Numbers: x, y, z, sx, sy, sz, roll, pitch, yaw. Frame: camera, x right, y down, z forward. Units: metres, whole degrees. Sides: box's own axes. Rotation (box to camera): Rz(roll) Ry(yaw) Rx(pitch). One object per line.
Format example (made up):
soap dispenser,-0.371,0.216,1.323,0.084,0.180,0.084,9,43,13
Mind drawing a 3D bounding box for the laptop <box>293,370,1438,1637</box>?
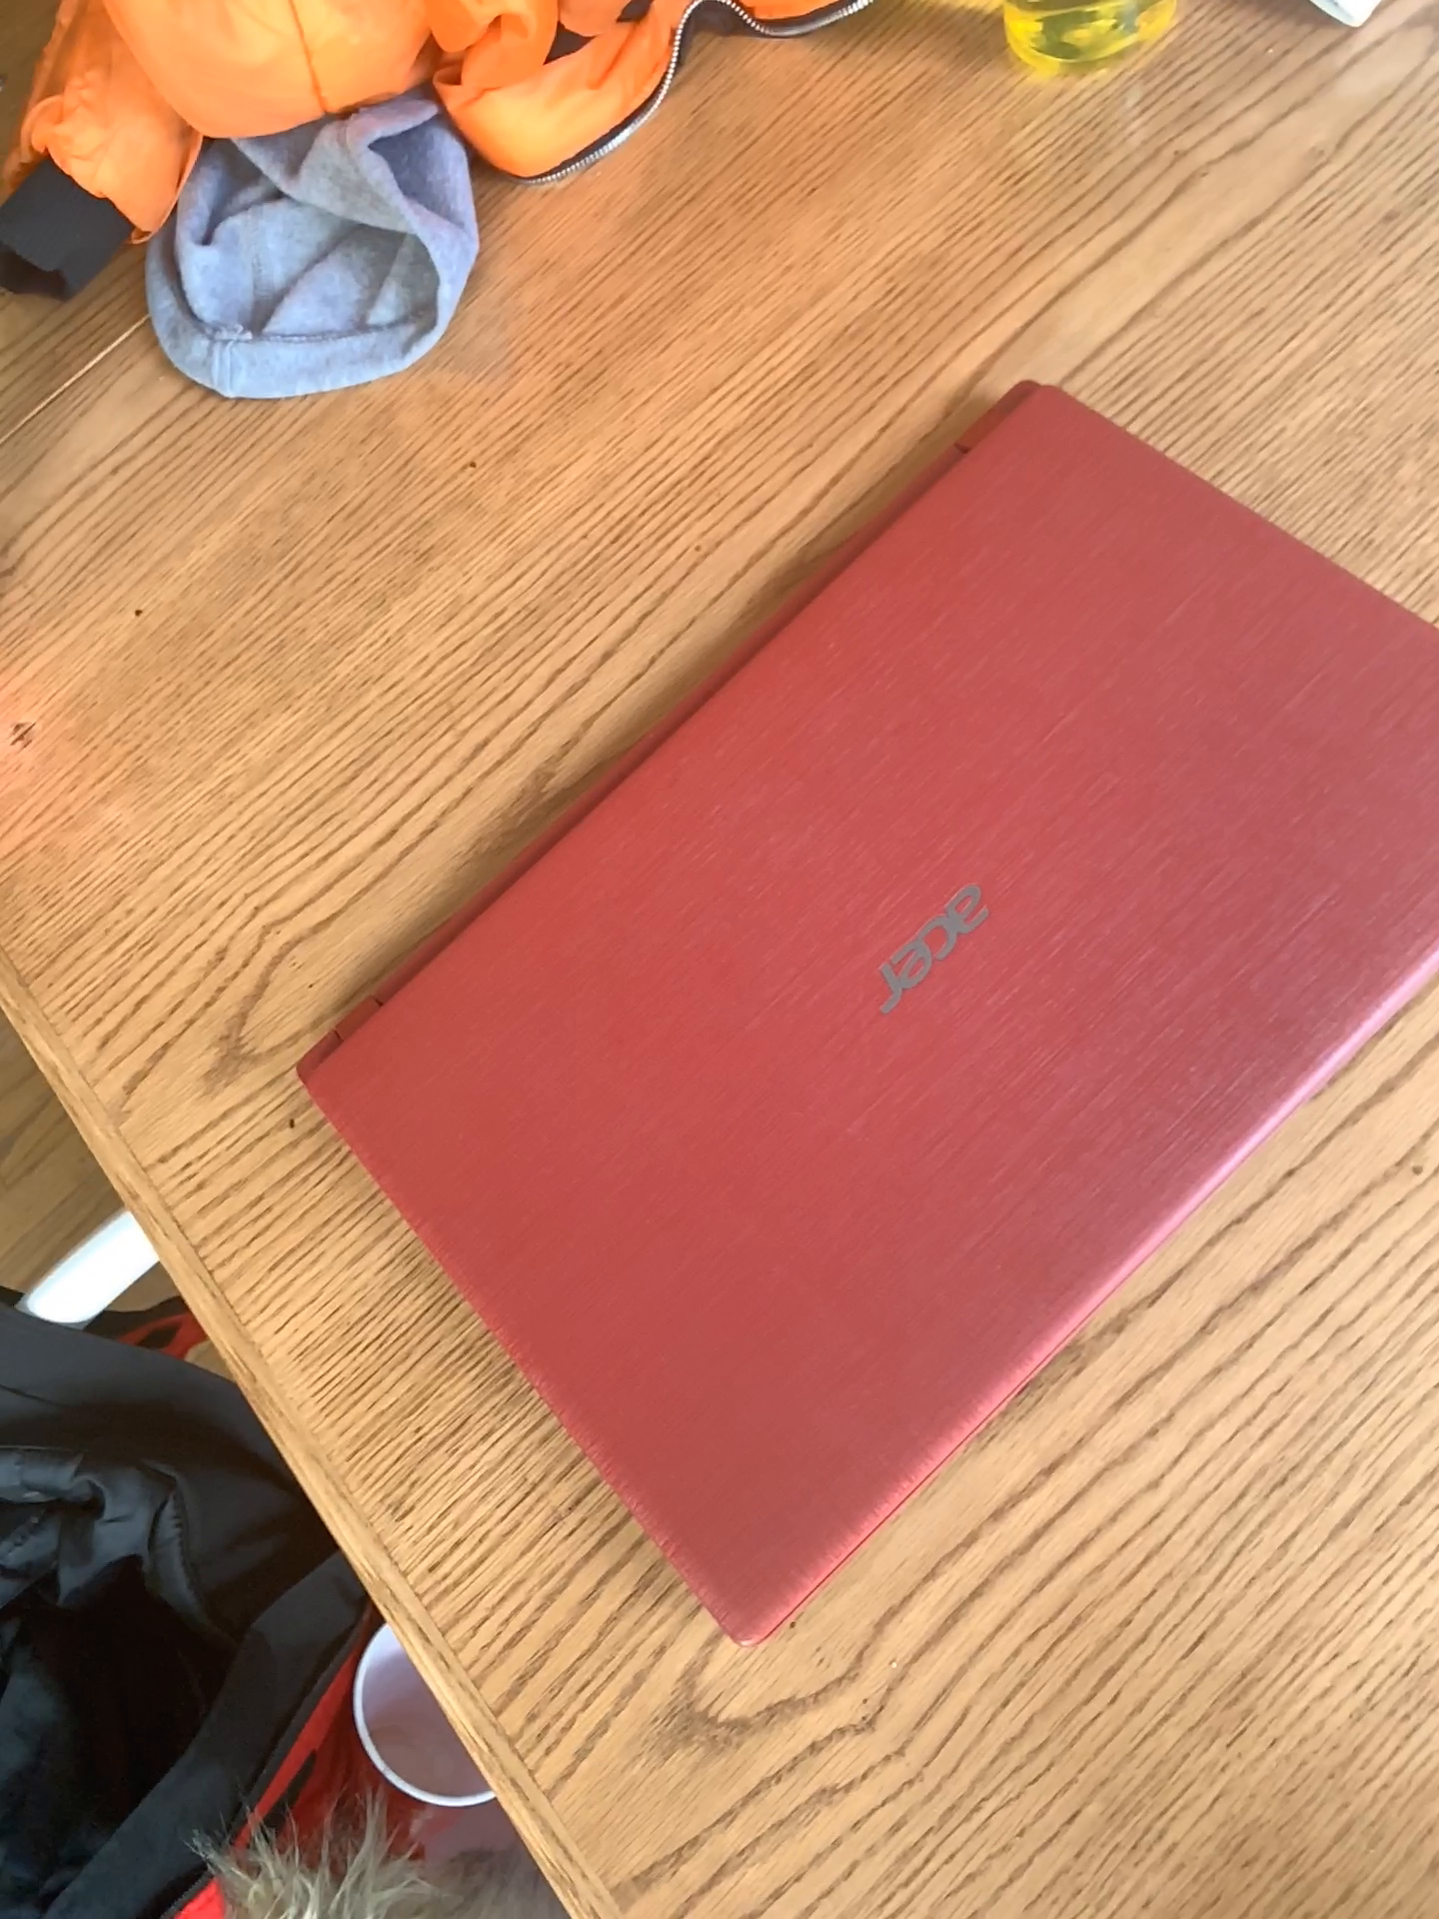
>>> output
laptop,0.060,-0.007,0.481,0.362,0.013,0.236,-44,66,-2
